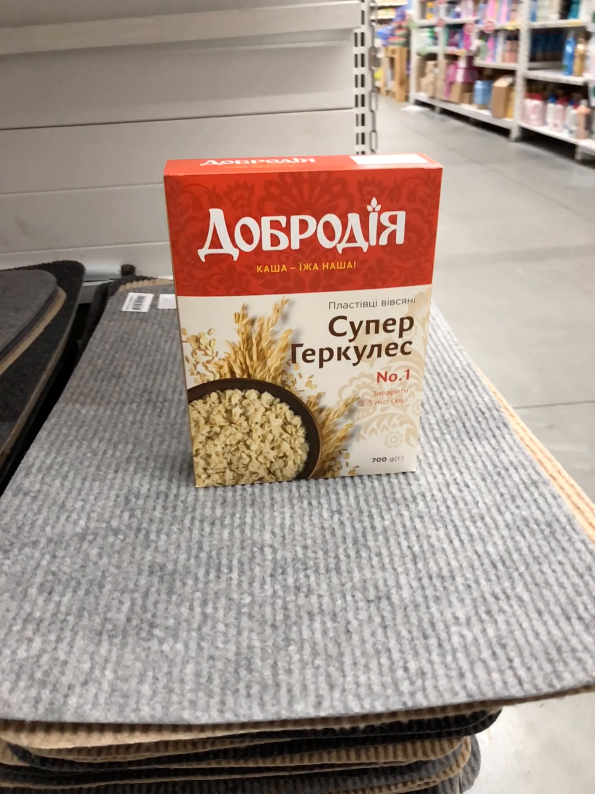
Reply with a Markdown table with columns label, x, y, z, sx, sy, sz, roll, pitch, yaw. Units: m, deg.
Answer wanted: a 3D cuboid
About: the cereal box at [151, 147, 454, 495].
| label | x | y | z | sx | sy | sz | roll | pitch | yaw |
| --- | --- | --- | --- | --- | --- | --- | --- | --- | --- |
| cereal box | 0.004 | -0.049 | 0.467 | 0.180 | 0.228 | 0.060 | -4 | 28 | -5 |
